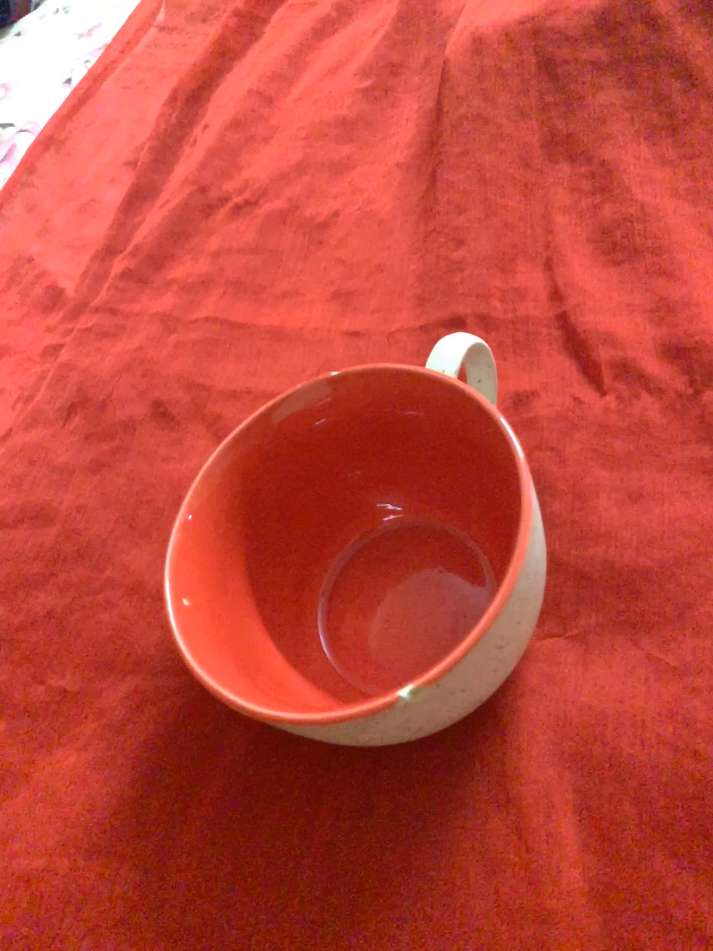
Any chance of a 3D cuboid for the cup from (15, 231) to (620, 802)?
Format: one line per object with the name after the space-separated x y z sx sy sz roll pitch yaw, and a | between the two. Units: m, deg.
-0.004 0.000 0.238 0.130 0.070 0.140 -11 53 15 | cup
